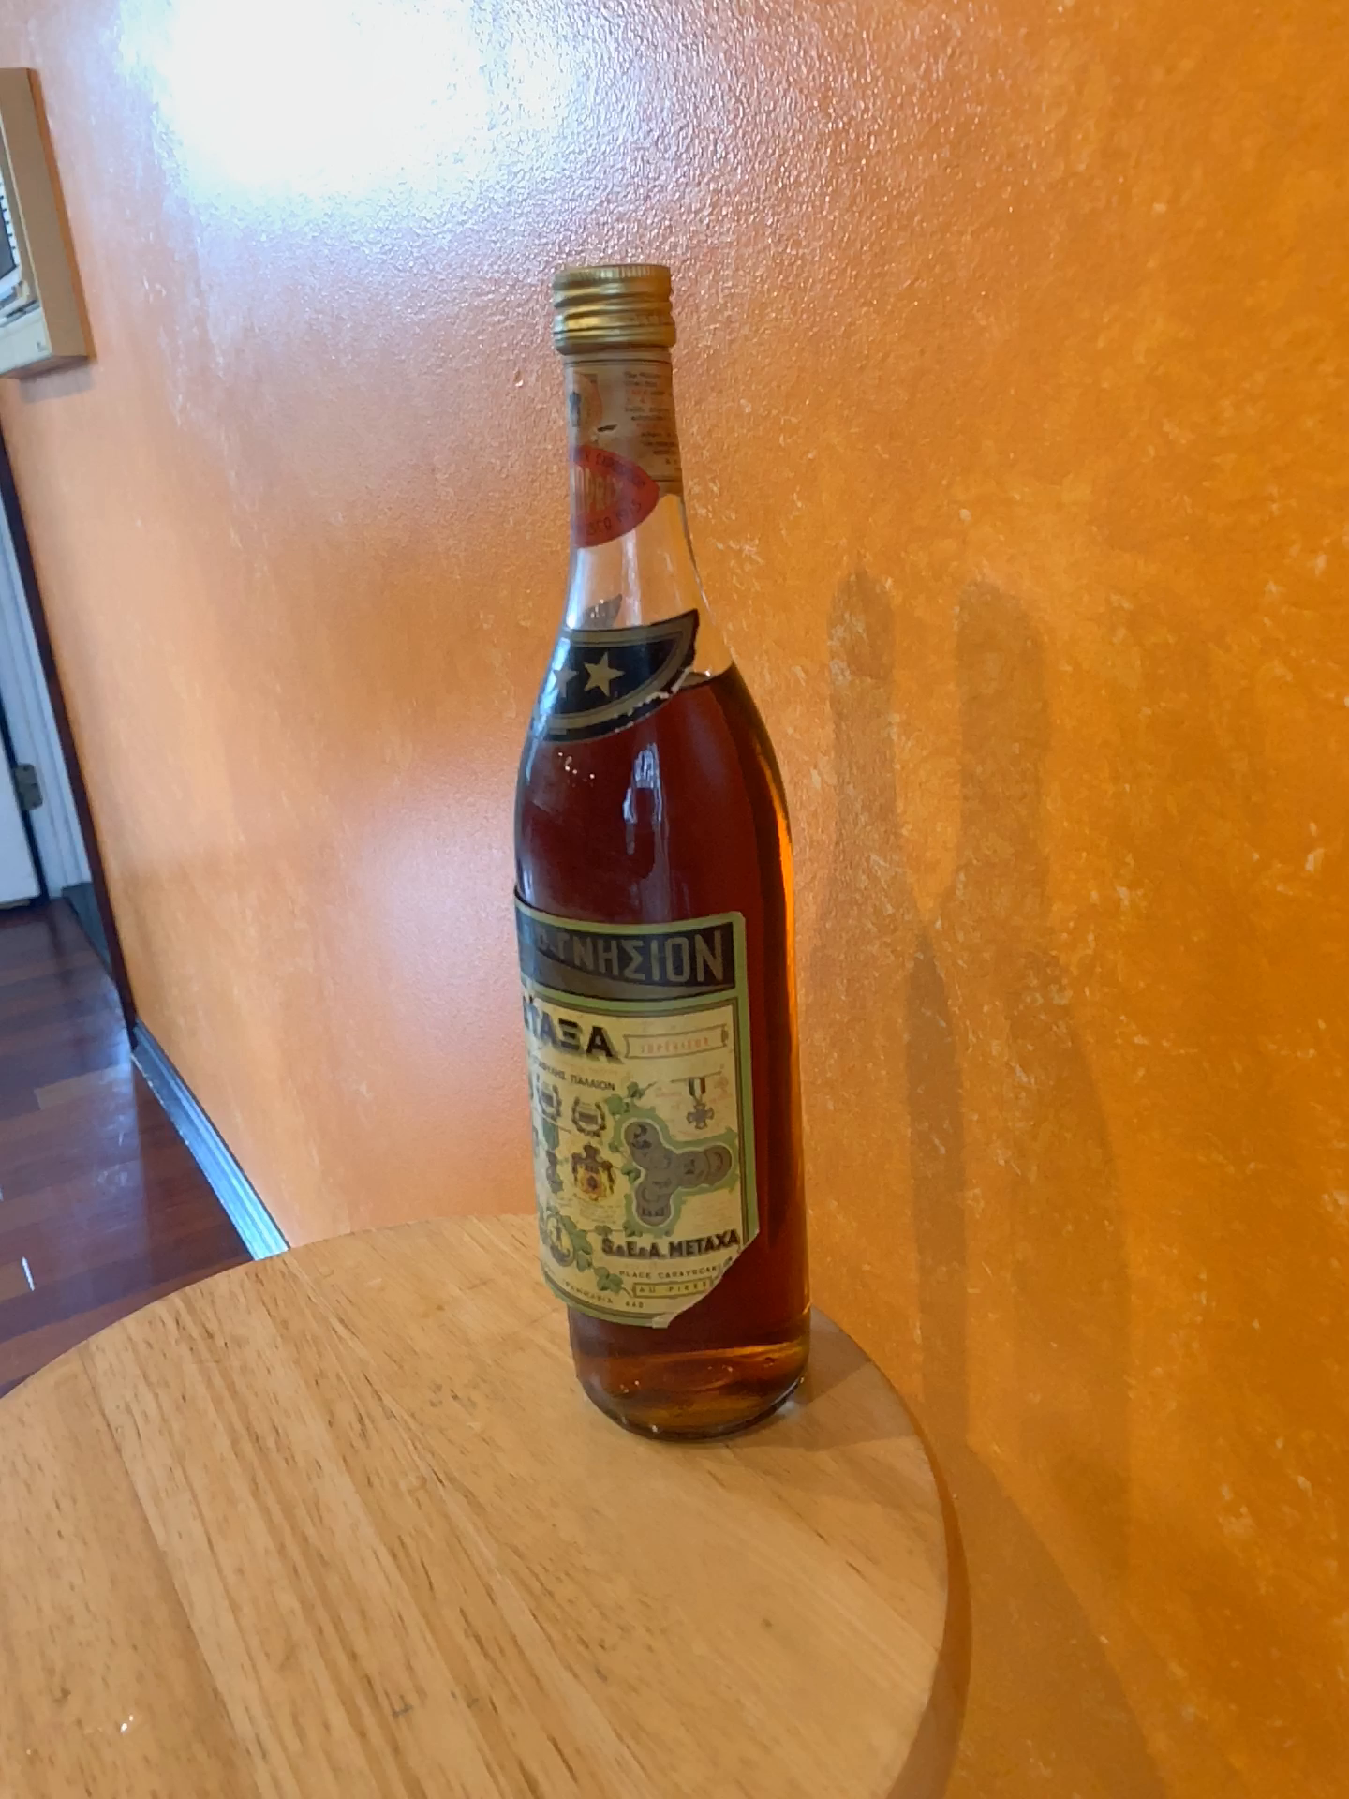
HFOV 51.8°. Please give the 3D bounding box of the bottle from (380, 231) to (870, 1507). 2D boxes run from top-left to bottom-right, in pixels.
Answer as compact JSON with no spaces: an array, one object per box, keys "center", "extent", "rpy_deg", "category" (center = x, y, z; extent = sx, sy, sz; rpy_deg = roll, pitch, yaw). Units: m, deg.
[{"center":[-0.007,-0.002,0.357],"extent":[0.070,0.299,0.080],"rpy_deg":[-15,23,-27],"category":"bottle"}]
